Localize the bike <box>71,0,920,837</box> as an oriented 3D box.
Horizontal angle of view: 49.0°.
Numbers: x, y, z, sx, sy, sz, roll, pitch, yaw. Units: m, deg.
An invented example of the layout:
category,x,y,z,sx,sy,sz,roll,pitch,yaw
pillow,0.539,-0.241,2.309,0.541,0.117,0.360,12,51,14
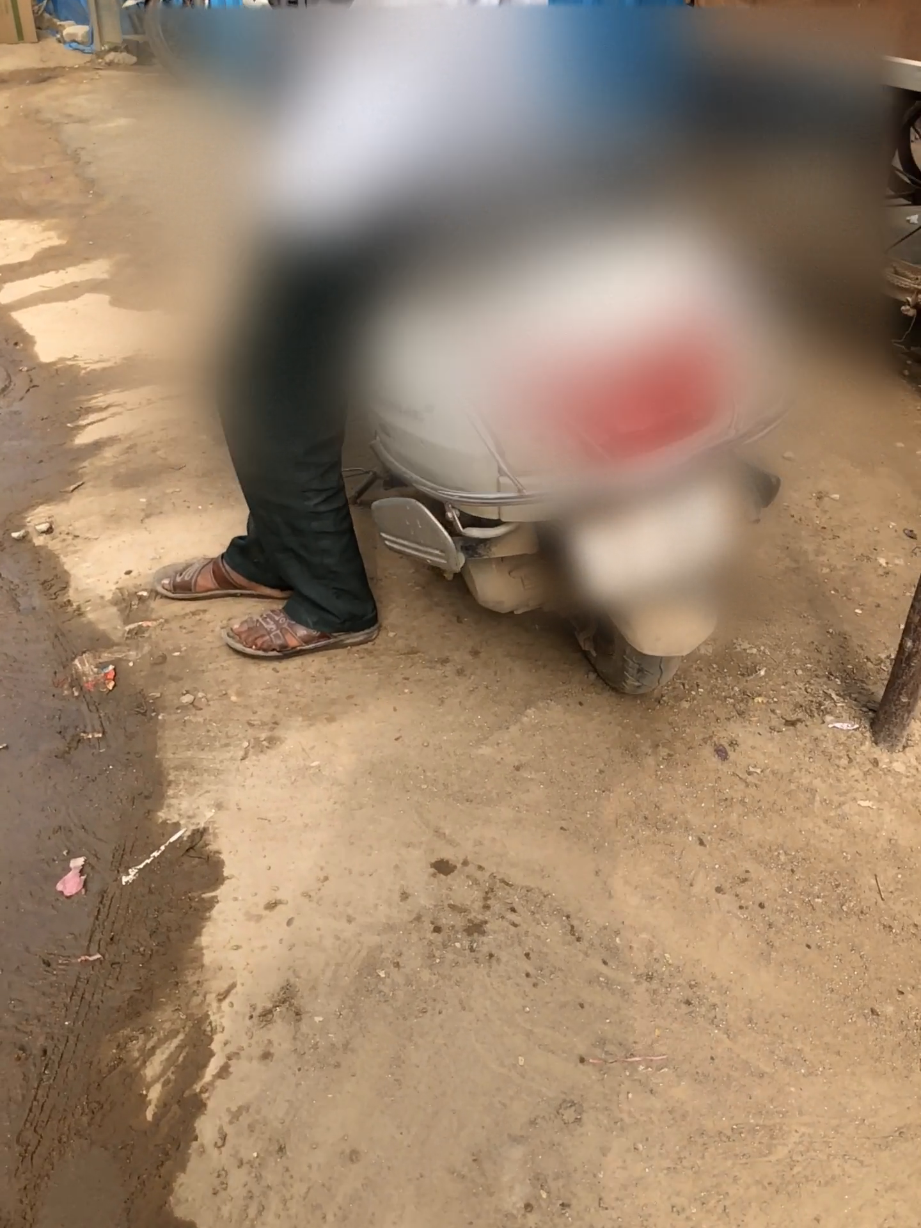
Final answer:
category,x,y,z,sx,sy,sz,roll,pitch,yaw
bike,-0.170,-0.619,1.746,0.657,1.112,1.582,-11,36,-19
